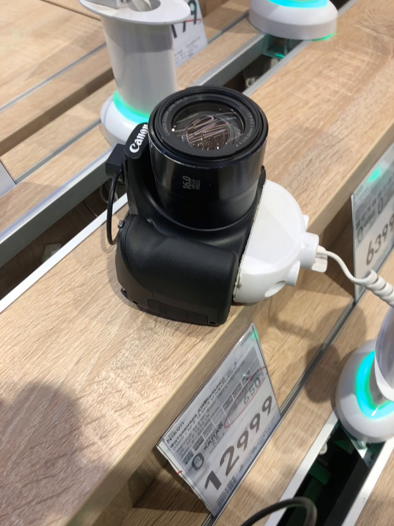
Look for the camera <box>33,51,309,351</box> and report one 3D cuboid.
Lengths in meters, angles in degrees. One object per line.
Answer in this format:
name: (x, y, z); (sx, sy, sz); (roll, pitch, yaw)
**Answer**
camera: (-0.006, -0.040, 0.264); (0.106, 0.090, 0.134); (14, 56, 7)
